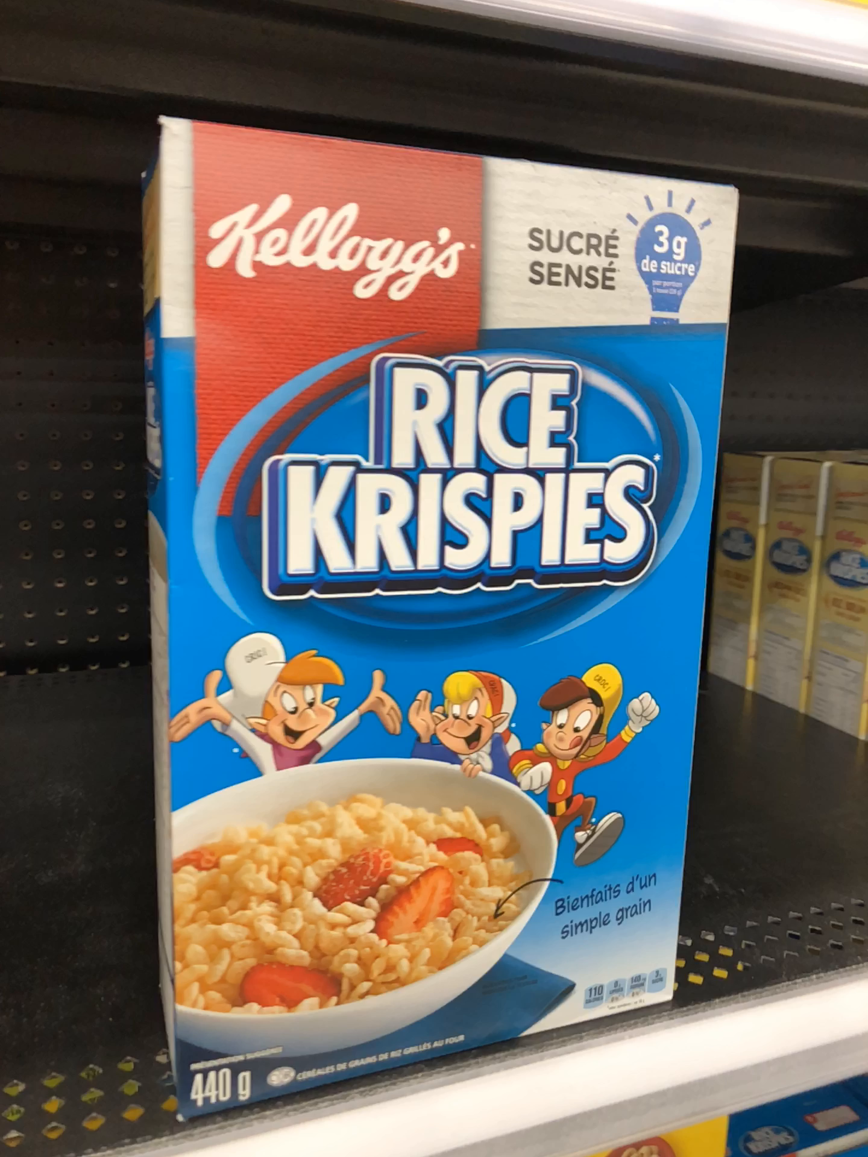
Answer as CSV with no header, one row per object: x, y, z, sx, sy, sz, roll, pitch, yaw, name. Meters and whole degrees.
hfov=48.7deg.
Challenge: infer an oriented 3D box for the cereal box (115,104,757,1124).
-0.004,0.012,0.347,0.200,0.299,0.080,-2,11,-21,cereal box
